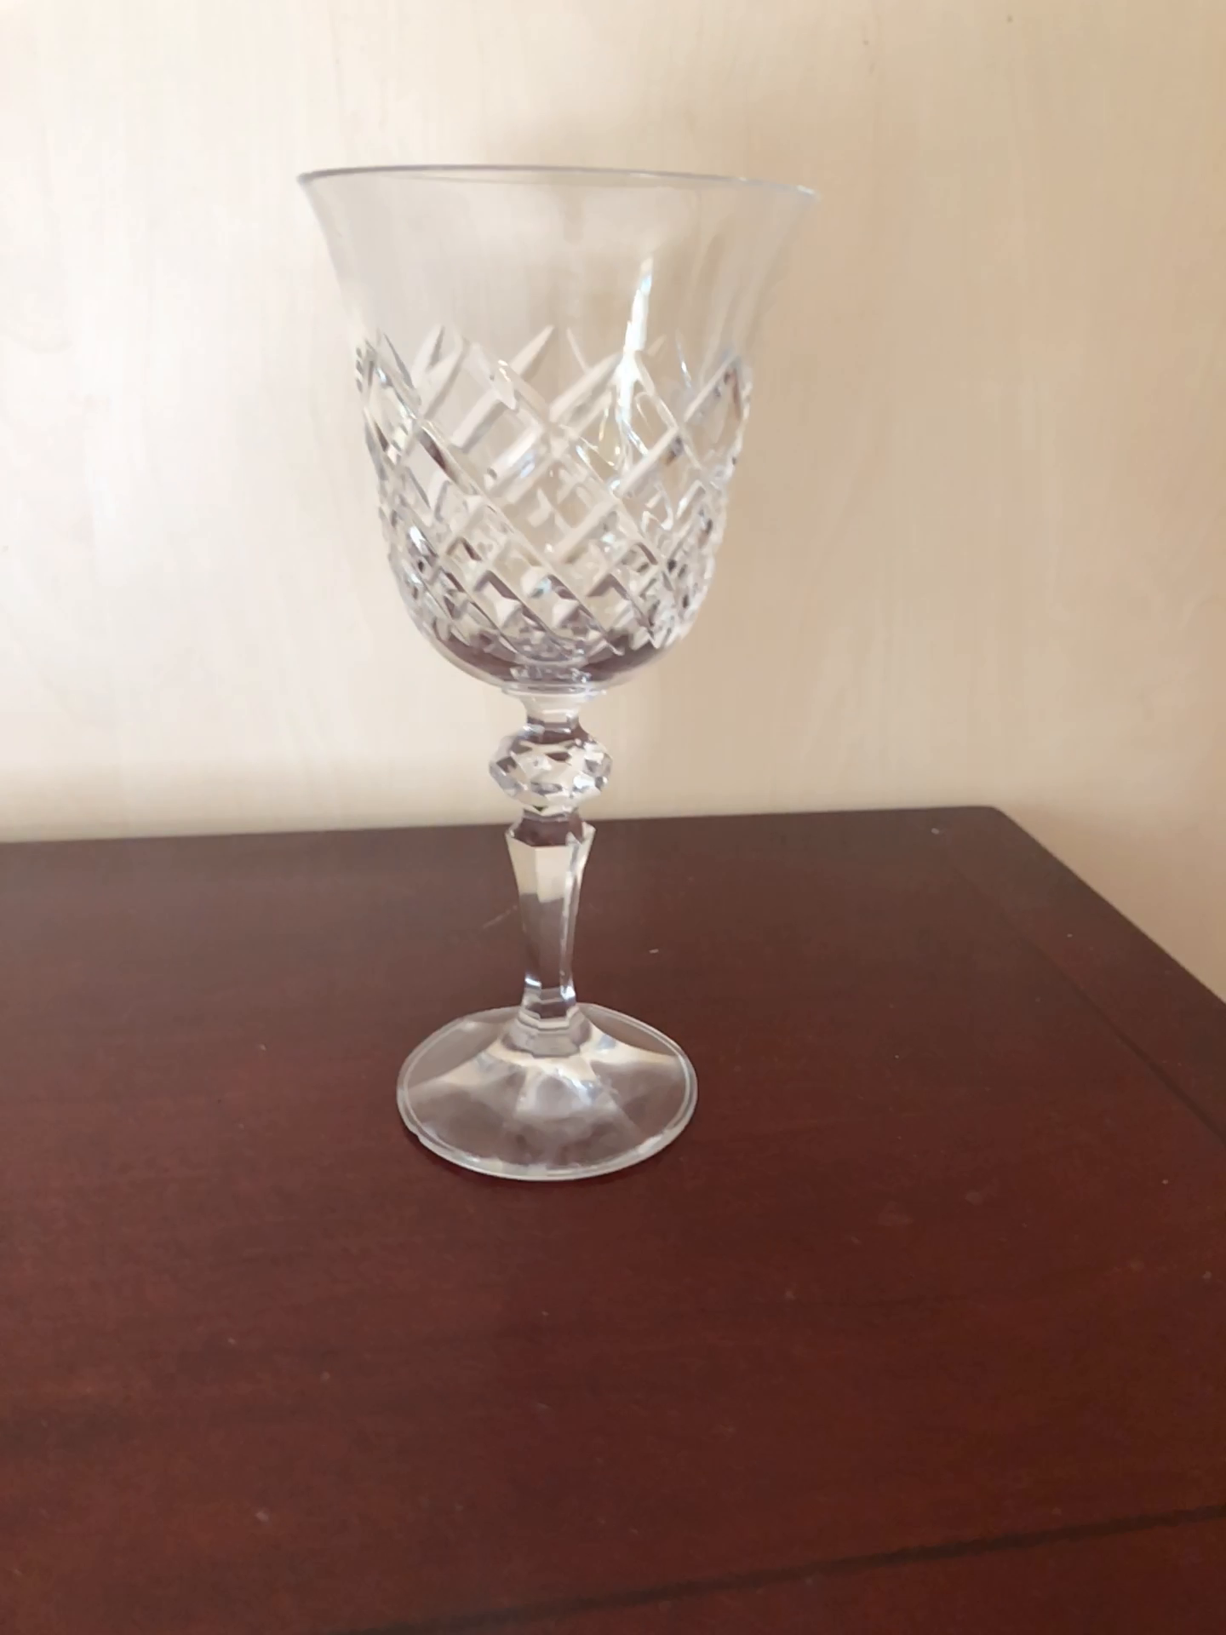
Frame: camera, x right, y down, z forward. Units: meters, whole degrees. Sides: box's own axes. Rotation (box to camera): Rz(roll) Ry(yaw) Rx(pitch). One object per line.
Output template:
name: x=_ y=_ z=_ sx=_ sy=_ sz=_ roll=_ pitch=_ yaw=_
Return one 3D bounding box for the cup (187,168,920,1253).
cup: x=-0.014 y=-0.027 z=0.265 sx=0.092 sy=0.171 sz=0.092 roll=1 pitch=21 yaw=0
